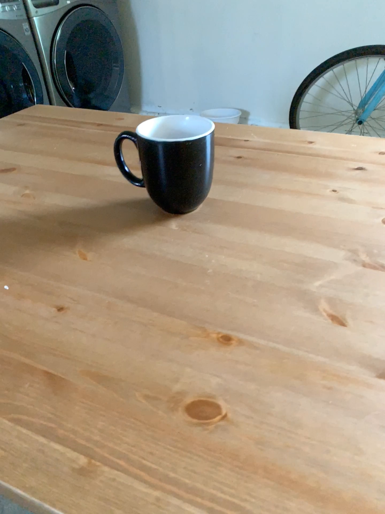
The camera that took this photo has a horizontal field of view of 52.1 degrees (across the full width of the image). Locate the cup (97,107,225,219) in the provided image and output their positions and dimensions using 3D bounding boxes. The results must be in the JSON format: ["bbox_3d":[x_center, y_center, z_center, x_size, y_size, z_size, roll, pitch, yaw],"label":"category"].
[{"bbox_3d":[-0.033,-0.129,0.532,0.140,0.109,0.100,5,38,11],"label":"cup"}]
